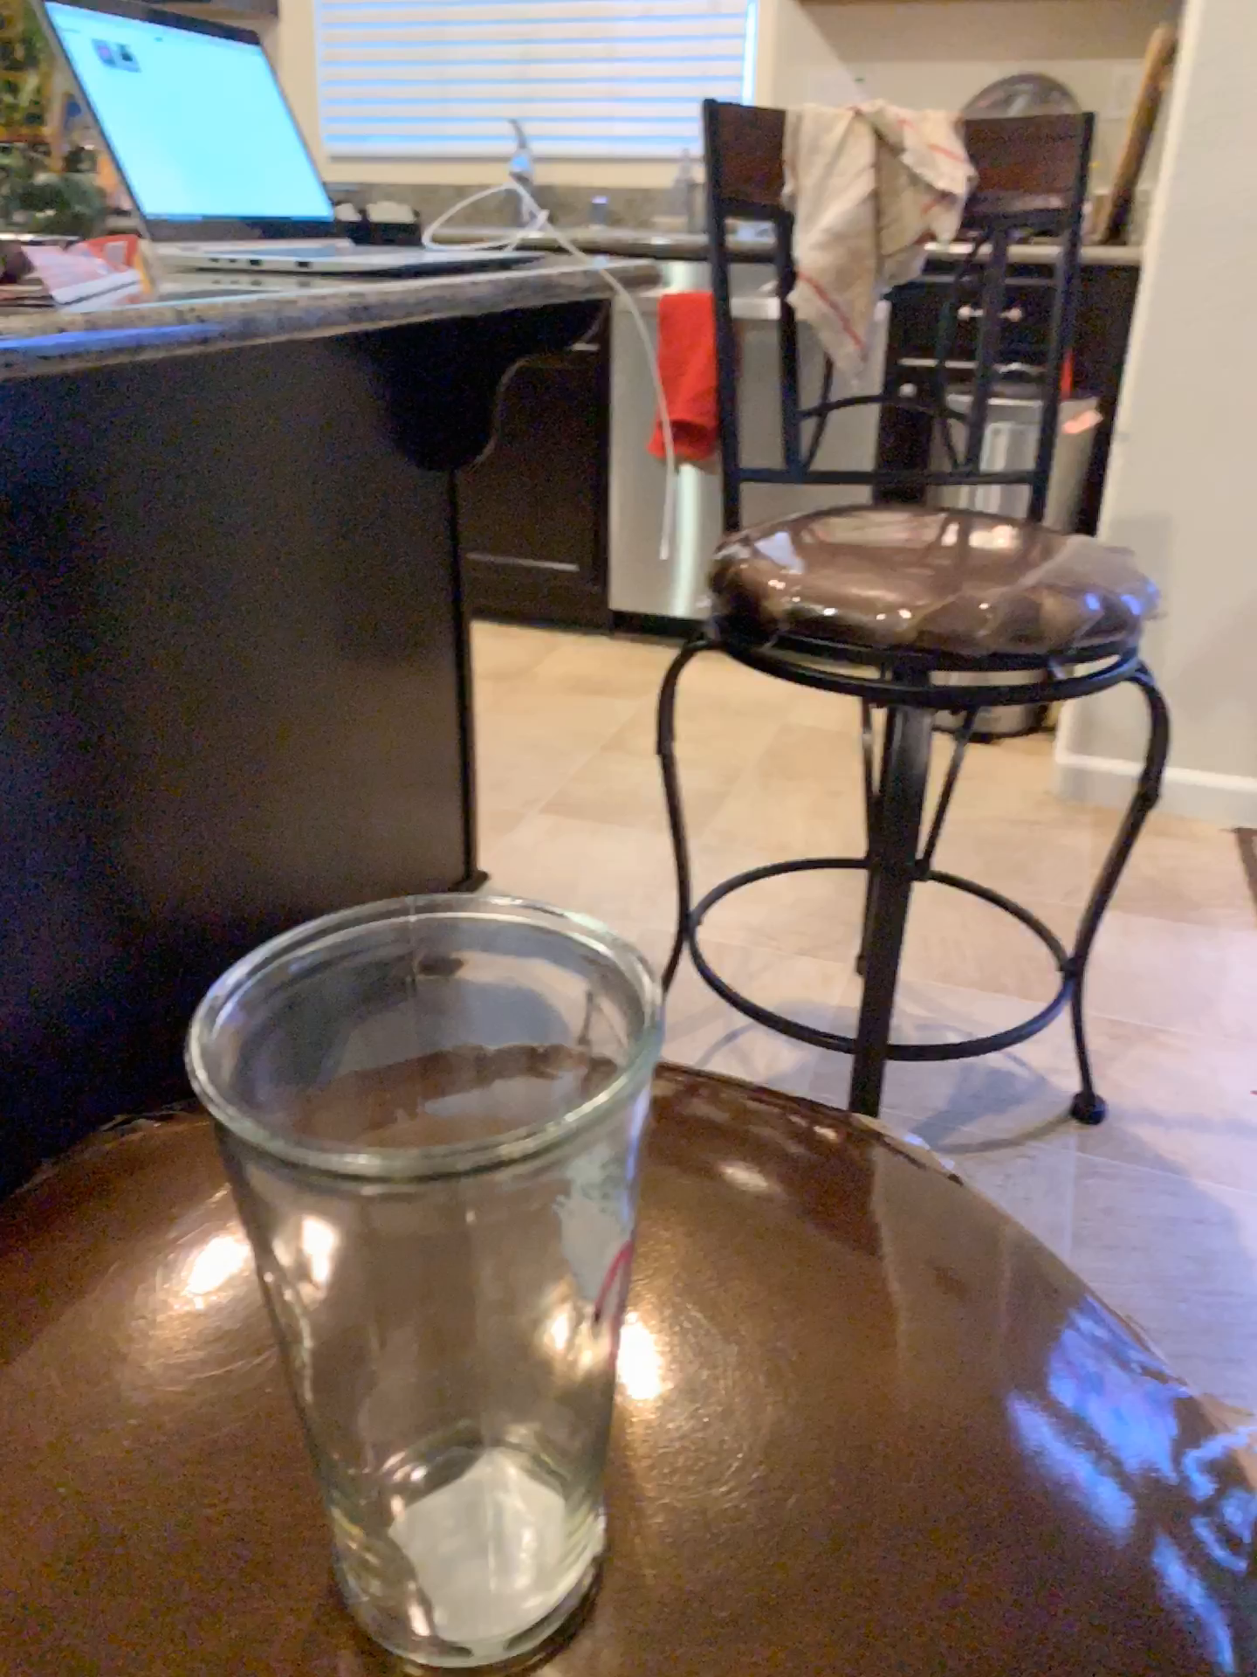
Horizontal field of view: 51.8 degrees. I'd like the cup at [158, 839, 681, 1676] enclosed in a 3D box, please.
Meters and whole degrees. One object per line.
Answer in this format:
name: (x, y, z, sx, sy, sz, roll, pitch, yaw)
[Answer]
cup: (-0.037, 0.086, 0.267, 0.080, 0.149, 0.081, 1, 25, -1)
